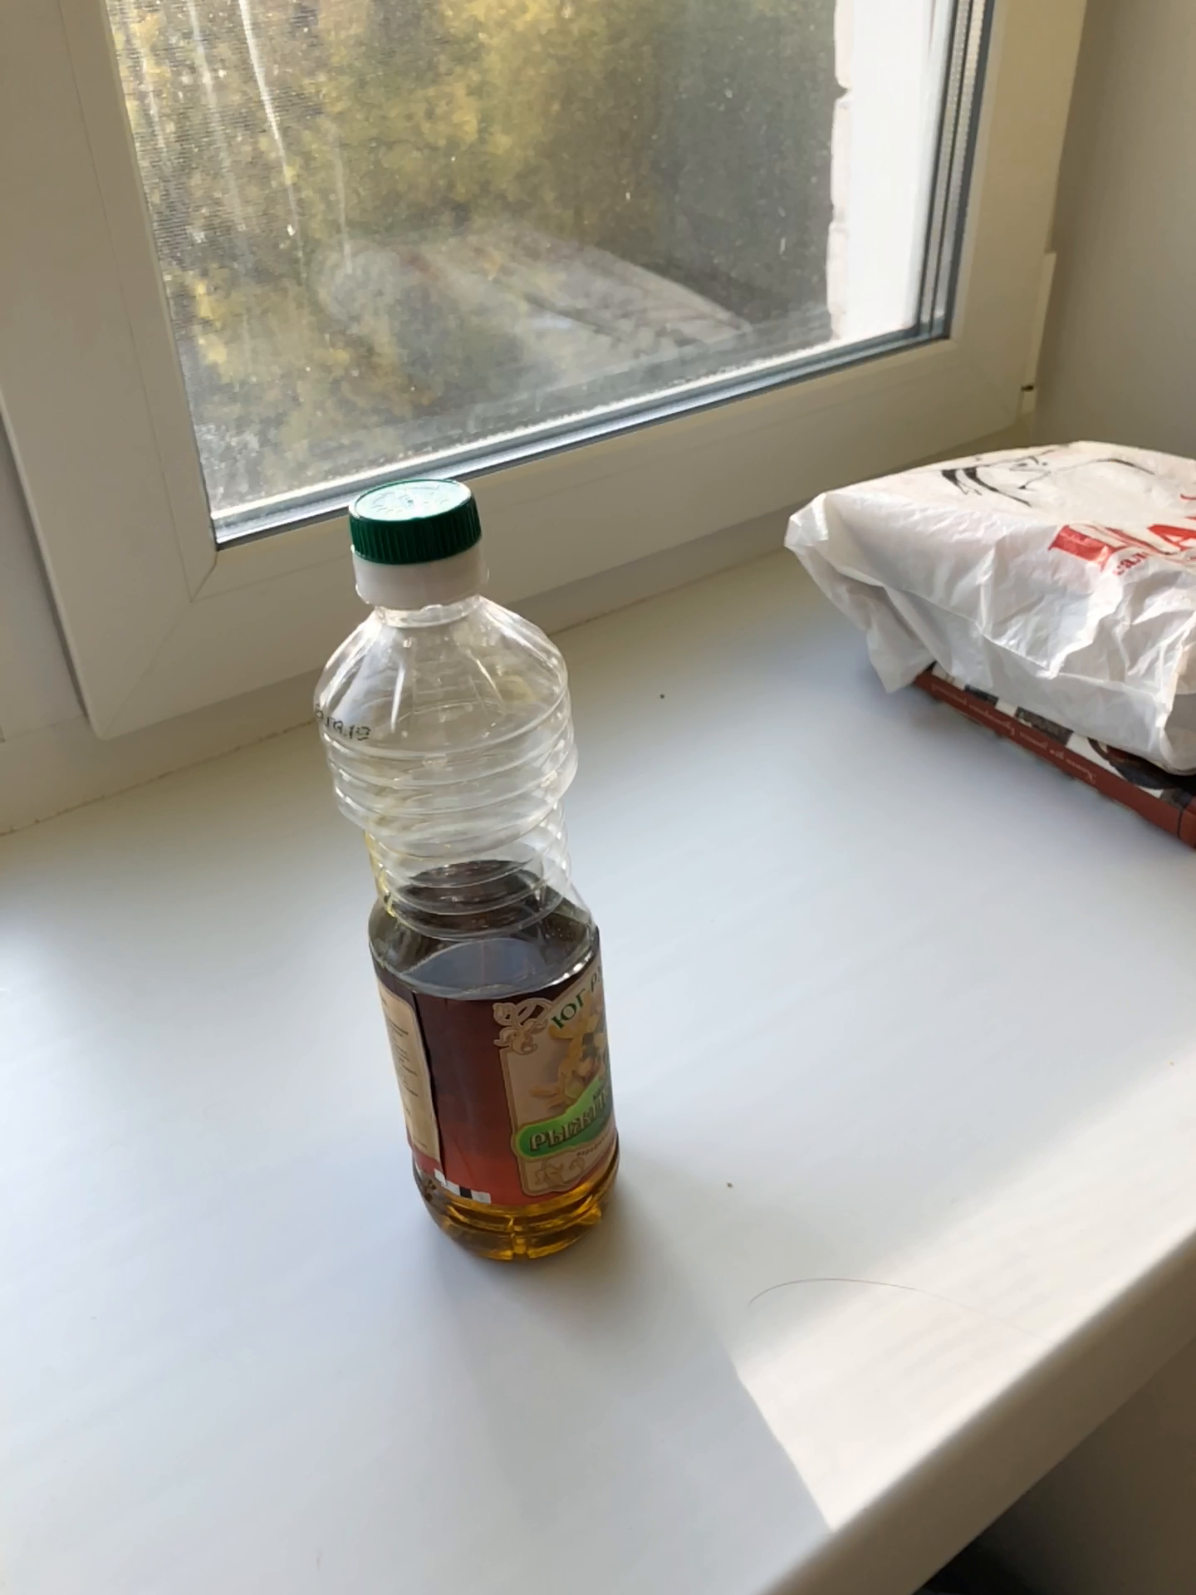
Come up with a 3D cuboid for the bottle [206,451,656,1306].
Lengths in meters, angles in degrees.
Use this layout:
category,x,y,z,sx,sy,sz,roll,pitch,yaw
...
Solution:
category,x,y,z,sx,sy,sz,roll,pitch,yaw
bottle,-0.035,0.028,0.353,0.068,0.217,0.061,17,38,32
